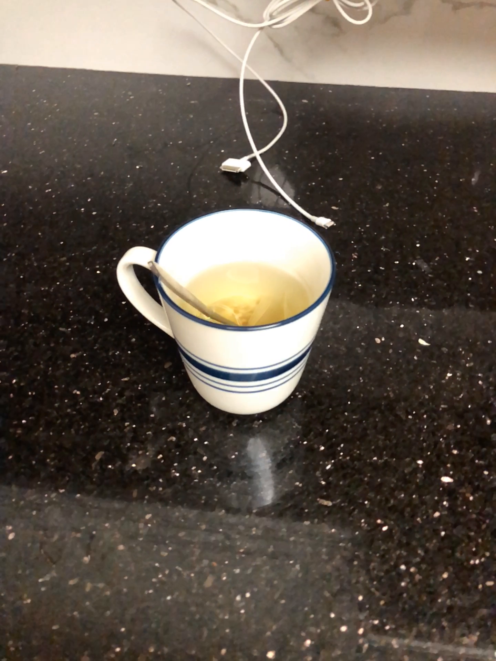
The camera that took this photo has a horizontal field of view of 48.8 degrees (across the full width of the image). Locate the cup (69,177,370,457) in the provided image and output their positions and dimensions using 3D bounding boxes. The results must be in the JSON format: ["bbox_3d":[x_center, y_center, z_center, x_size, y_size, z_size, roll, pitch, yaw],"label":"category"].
[{"bbox_3d":[-0.011,-0.009,0.294,0.120,0.090,0.080,18,52,15],"label":"cup"}]
